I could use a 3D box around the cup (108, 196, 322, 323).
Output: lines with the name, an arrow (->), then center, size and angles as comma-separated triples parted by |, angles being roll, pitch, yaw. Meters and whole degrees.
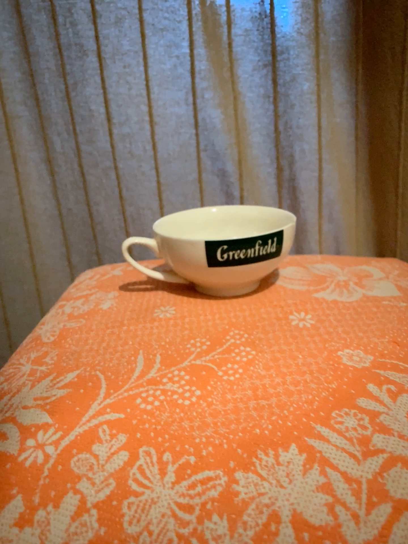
cup -> -0.001, -0.018, 0.330 | 0.136, 0.056, 0.115 | -5, 19, -13
